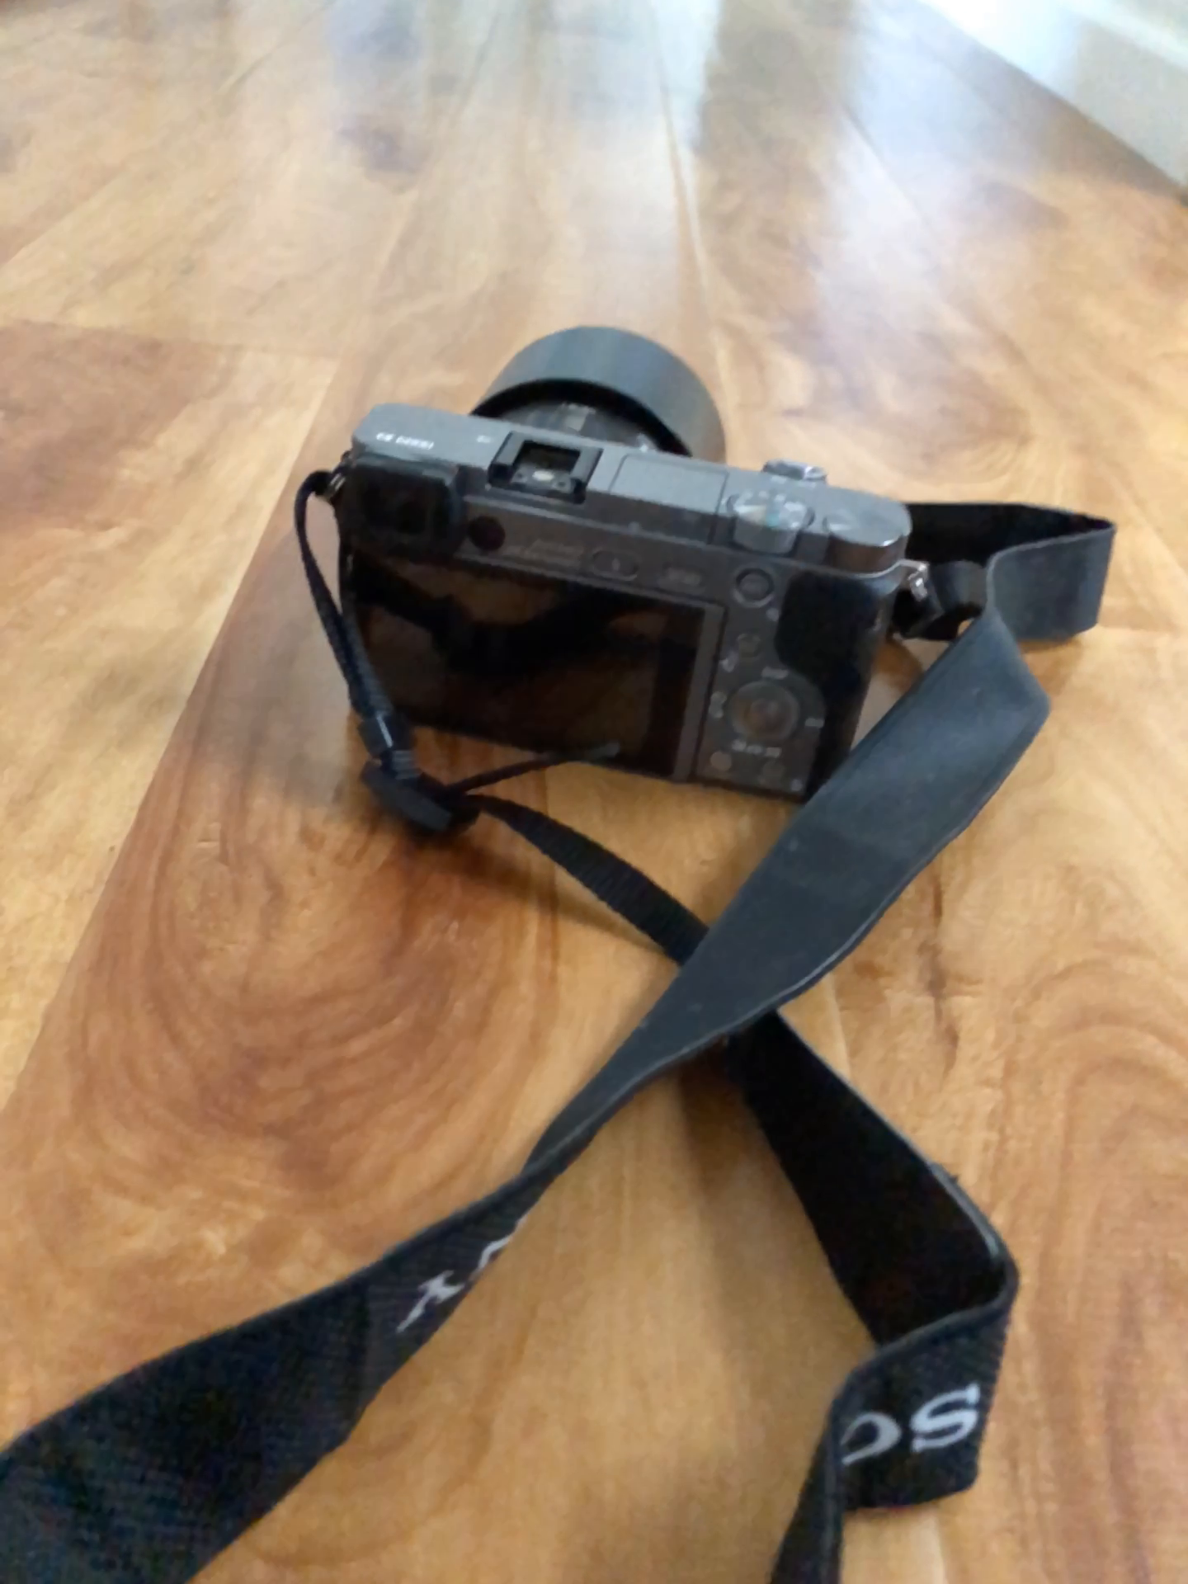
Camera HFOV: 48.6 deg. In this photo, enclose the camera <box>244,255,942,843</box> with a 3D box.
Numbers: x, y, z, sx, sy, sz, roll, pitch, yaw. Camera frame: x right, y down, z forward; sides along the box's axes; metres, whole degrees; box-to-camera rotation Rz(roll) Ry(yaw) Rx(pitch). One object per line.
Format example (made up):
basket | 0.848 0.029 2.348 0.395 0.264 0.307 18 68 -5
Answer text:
camera | 0.004 -0.066 0.325 0.140 0.080 0.111 12 37 5
